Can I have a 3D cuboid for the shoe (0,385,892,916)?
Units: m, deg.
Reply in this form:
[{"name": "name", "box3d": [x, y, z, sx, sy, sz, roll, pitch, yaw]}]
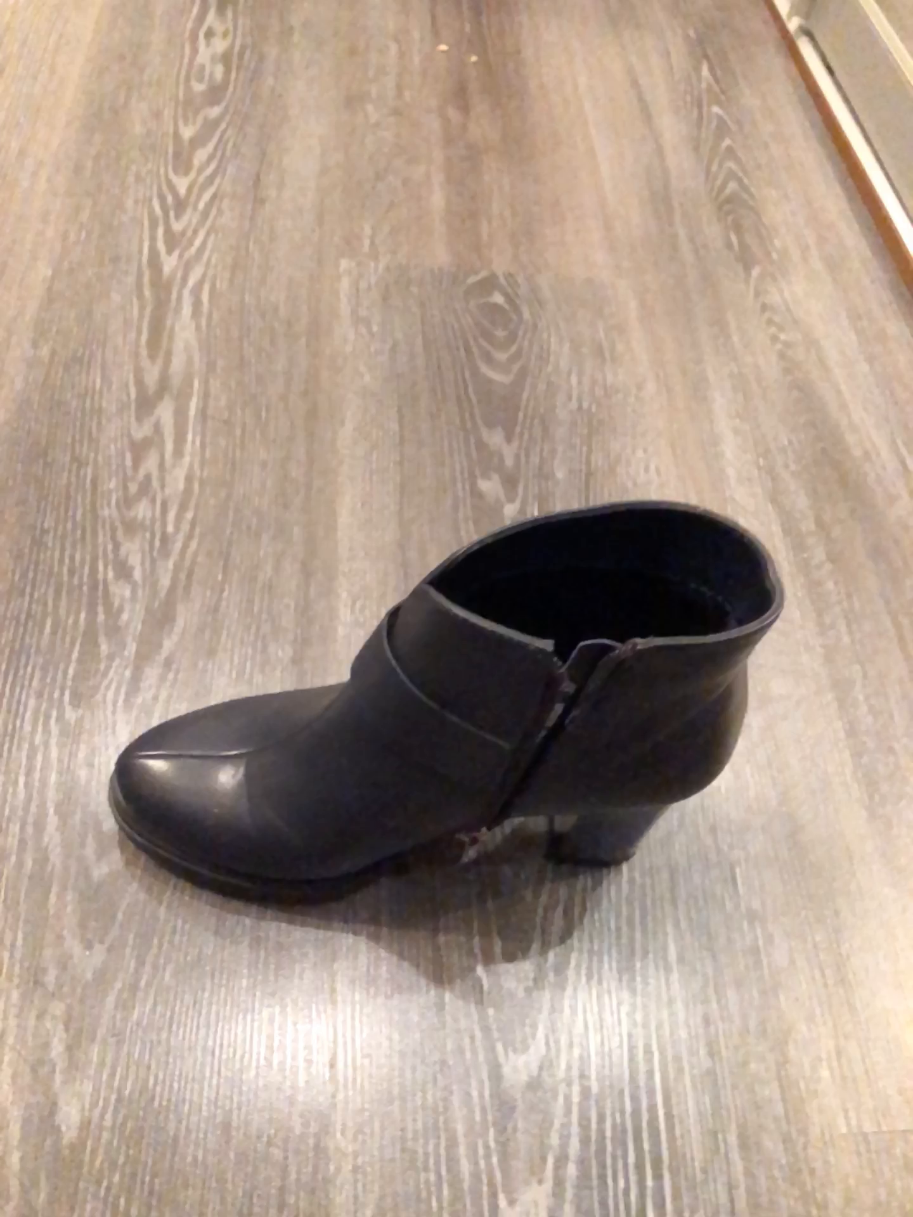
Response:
[{"name": "shoe", "box3d": [-0.016, 0.029, 0.358, 0.240, 0.189, 0.091, 1, 54, -8]}]
